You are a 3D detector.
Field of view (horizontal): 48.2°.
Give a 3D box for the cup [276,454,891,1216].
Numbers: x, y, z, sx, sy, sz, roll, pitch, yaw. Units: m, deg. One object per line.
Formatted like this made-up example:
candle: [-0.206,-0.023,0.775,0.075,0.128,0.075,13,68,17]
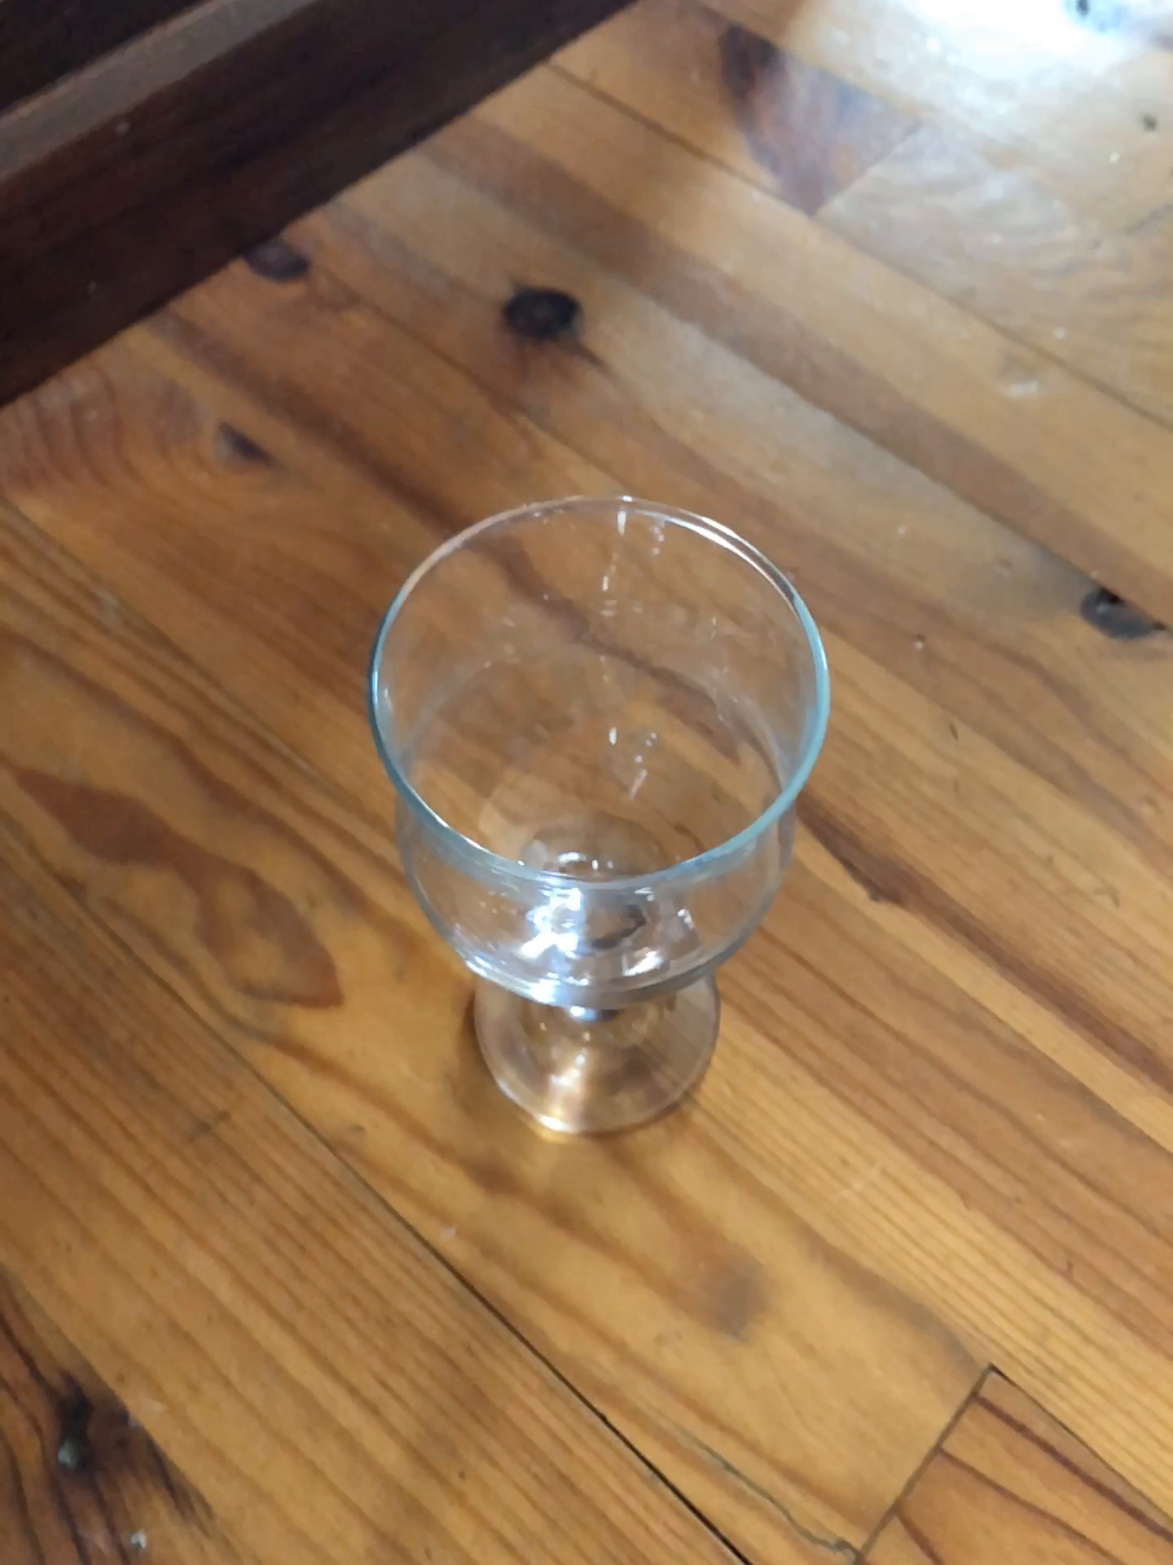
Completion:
cup: [0.003,0.024,0.267,0.076,0.157,0.083,0,62,0]
